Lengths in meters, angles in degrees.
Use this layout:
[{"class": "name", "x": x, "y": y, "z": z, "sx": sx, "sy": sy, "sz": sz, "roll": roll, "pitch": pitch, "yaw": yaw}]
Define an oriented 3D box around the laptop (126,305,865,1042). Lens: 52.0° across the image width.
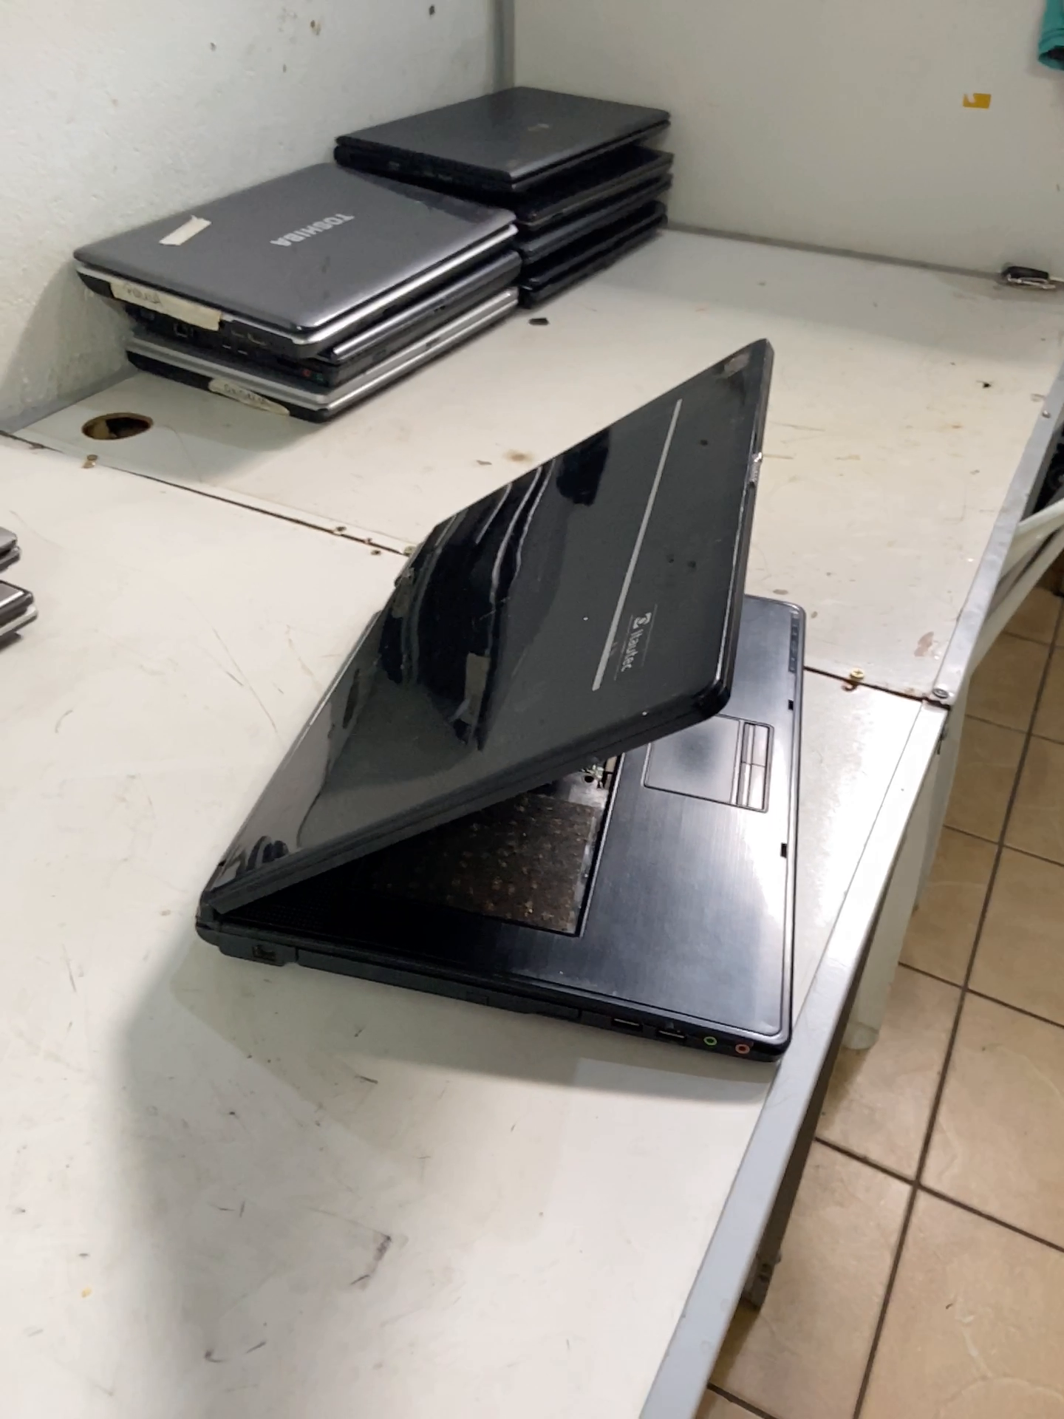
[{"class": "laptop", "x": 0.018, "y": -0.053, "z": 0.559, "sx": 0.260, "sy": 0.164, "sz": 0.350, "roll": 10, "pitch": 38, "yaw": 8}]
